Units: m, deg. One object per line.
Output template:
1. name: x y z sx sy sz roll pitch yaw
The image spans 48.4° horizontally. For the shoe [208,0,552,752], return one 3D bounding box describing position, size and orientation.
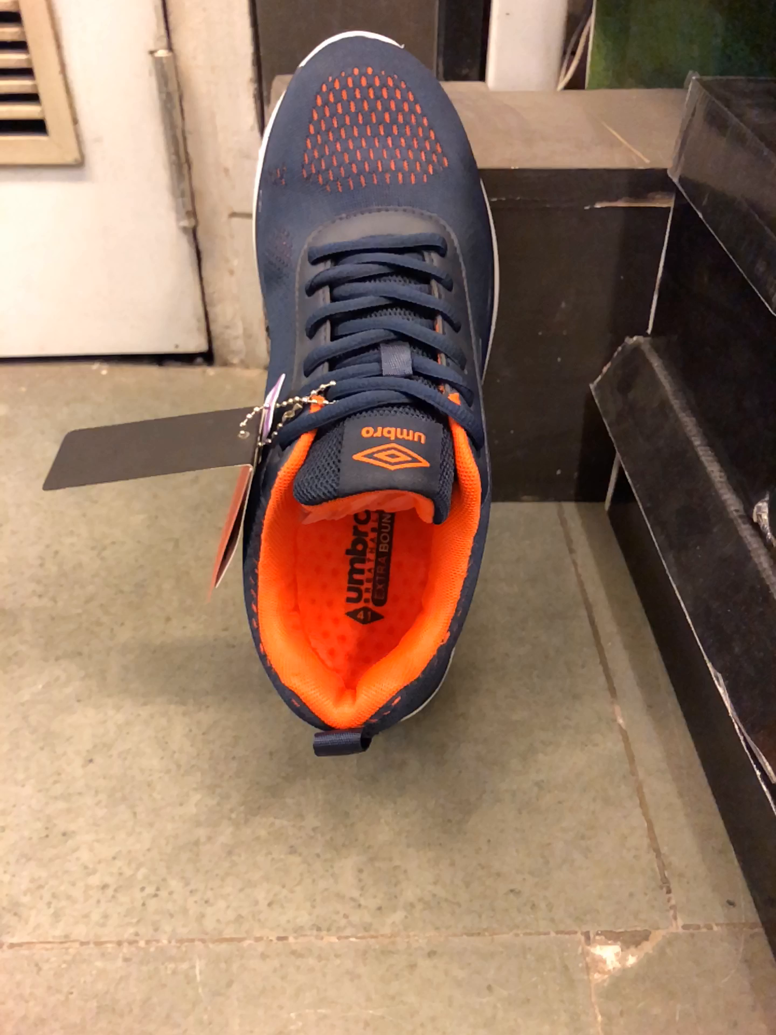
1. shoe: -0.011 -0.063 0.329 0.092 0.259 0.133 2 8 -6
